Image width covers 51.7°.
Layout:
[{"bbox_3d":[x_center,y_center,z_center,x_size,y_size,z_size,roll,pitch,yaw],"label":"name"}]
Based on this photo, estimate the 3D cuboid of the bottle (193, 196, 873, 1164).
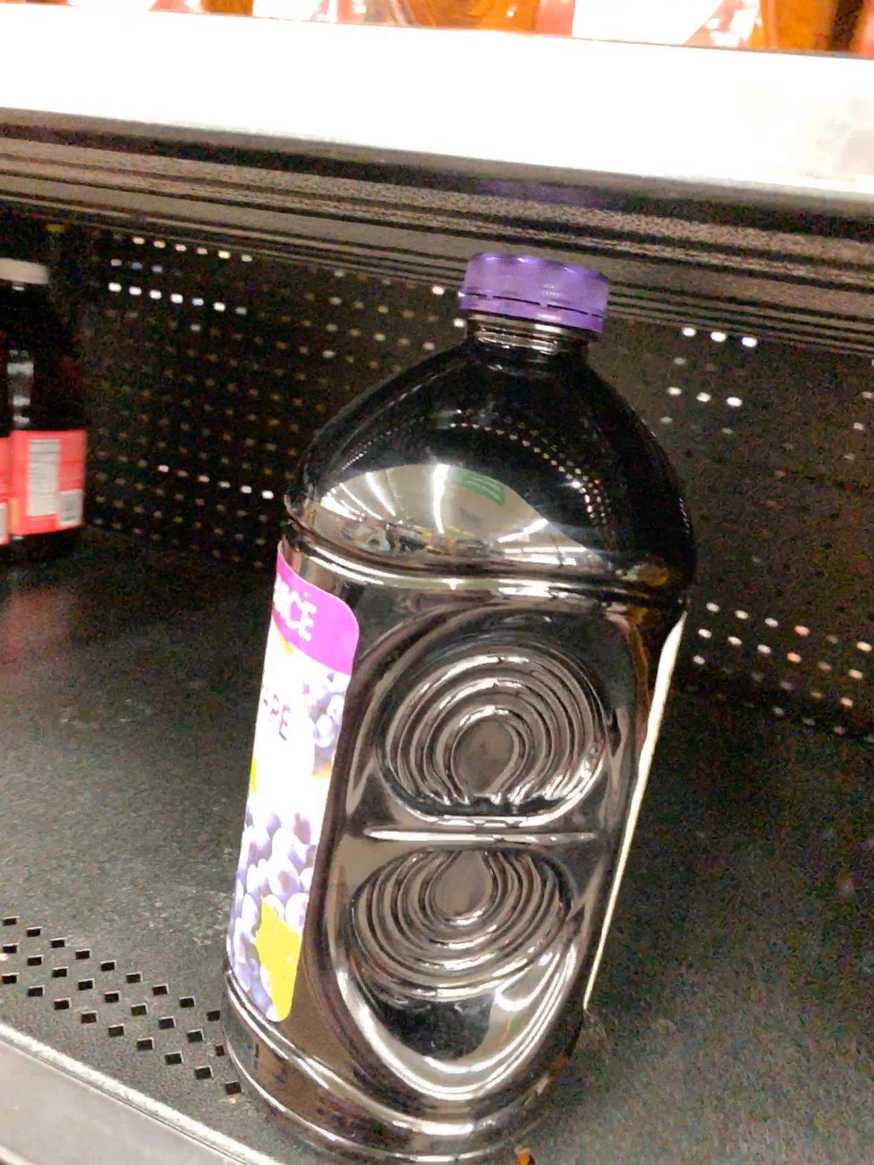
[{"bbox_3d":[0.007,0.036,0.307,0.140,0.279,0.130,9,16,-3],"label":"bottle"}]
